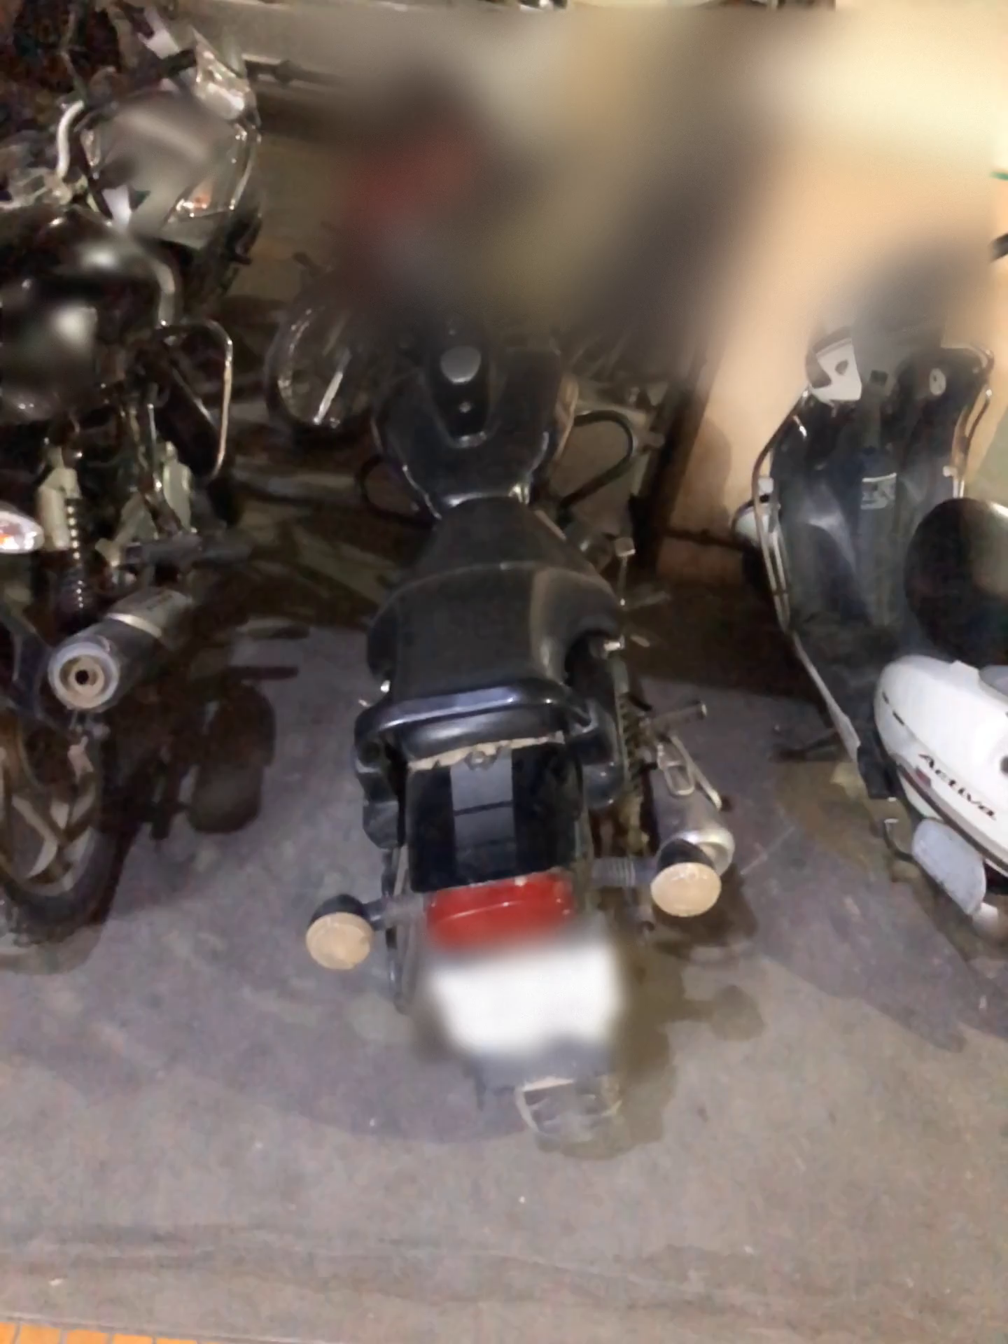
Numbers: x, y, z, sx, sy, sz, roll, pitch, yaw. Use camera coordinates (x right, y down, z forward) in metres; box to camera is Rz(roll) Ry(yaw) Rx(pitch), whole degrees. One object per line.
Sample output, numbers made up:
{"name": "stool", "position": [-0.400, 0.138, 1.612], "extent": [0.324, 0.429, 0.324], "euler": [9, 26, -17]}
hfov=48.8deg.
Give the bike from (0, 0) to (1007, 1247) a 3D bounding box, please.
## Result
{"name": "bike", "position": [-0.165, -0.263, 1.808], "extent": [0.863, 1.251, 1.677], "euler": [5, 34, -13]}
